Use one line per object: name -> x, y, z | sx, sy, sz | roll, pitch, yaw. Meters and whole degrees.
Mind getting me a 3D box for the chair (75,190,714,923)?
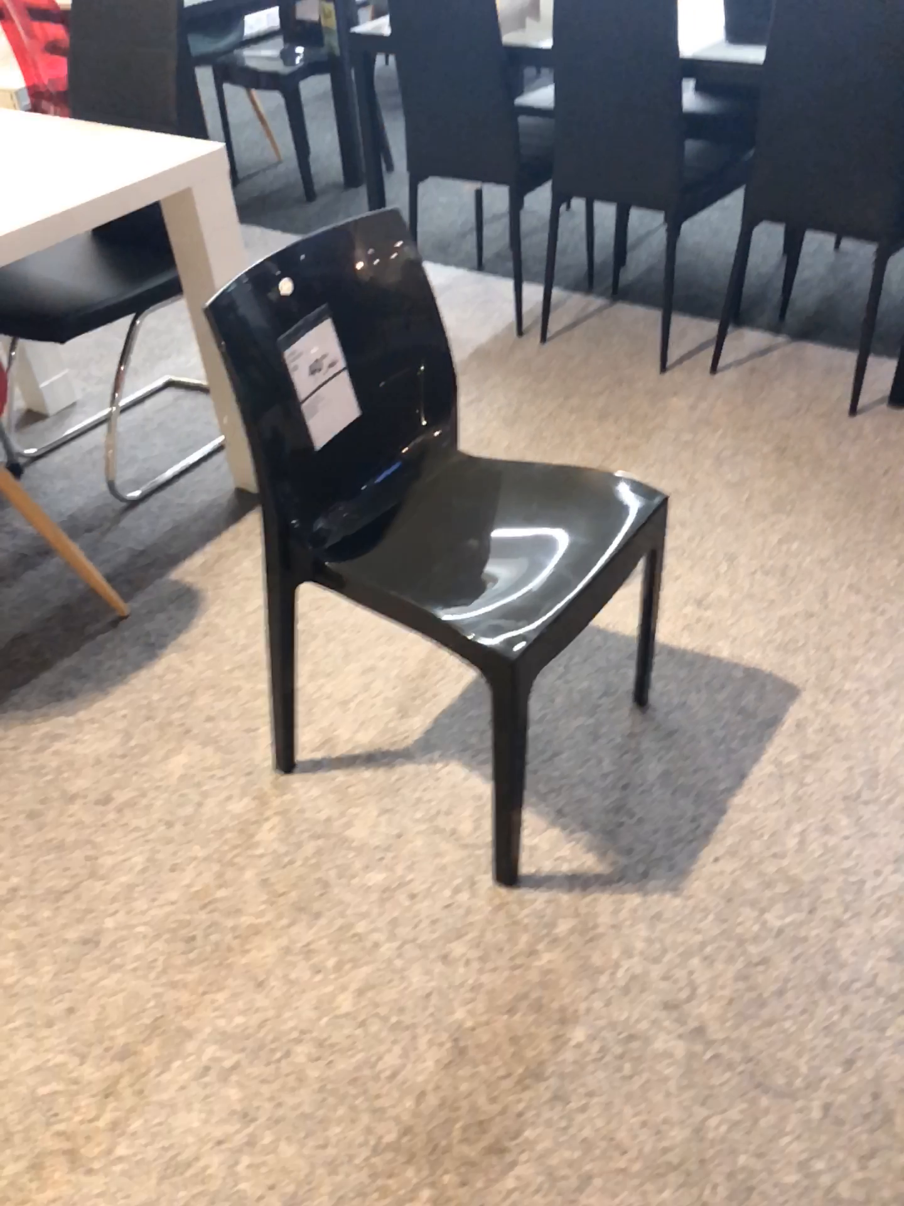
chair -> -0.034, -0.085, 1.425 | 0.570, 0.766, 0.523 | 20, 46, 27
